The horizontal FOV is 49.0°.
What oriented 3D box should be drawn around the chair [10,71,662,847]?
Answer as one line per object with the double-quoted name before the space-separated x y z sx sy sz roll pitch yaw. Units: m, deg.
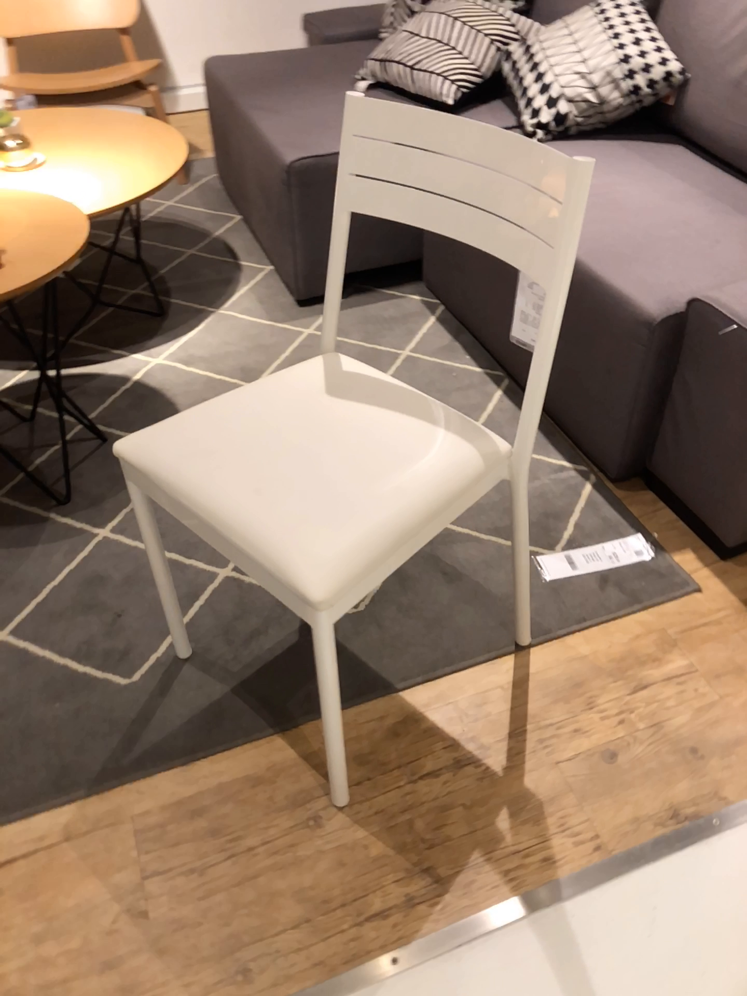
"chair" -0.027 -0.048 1.072 0.451 0.774 0.472 32 51 32
